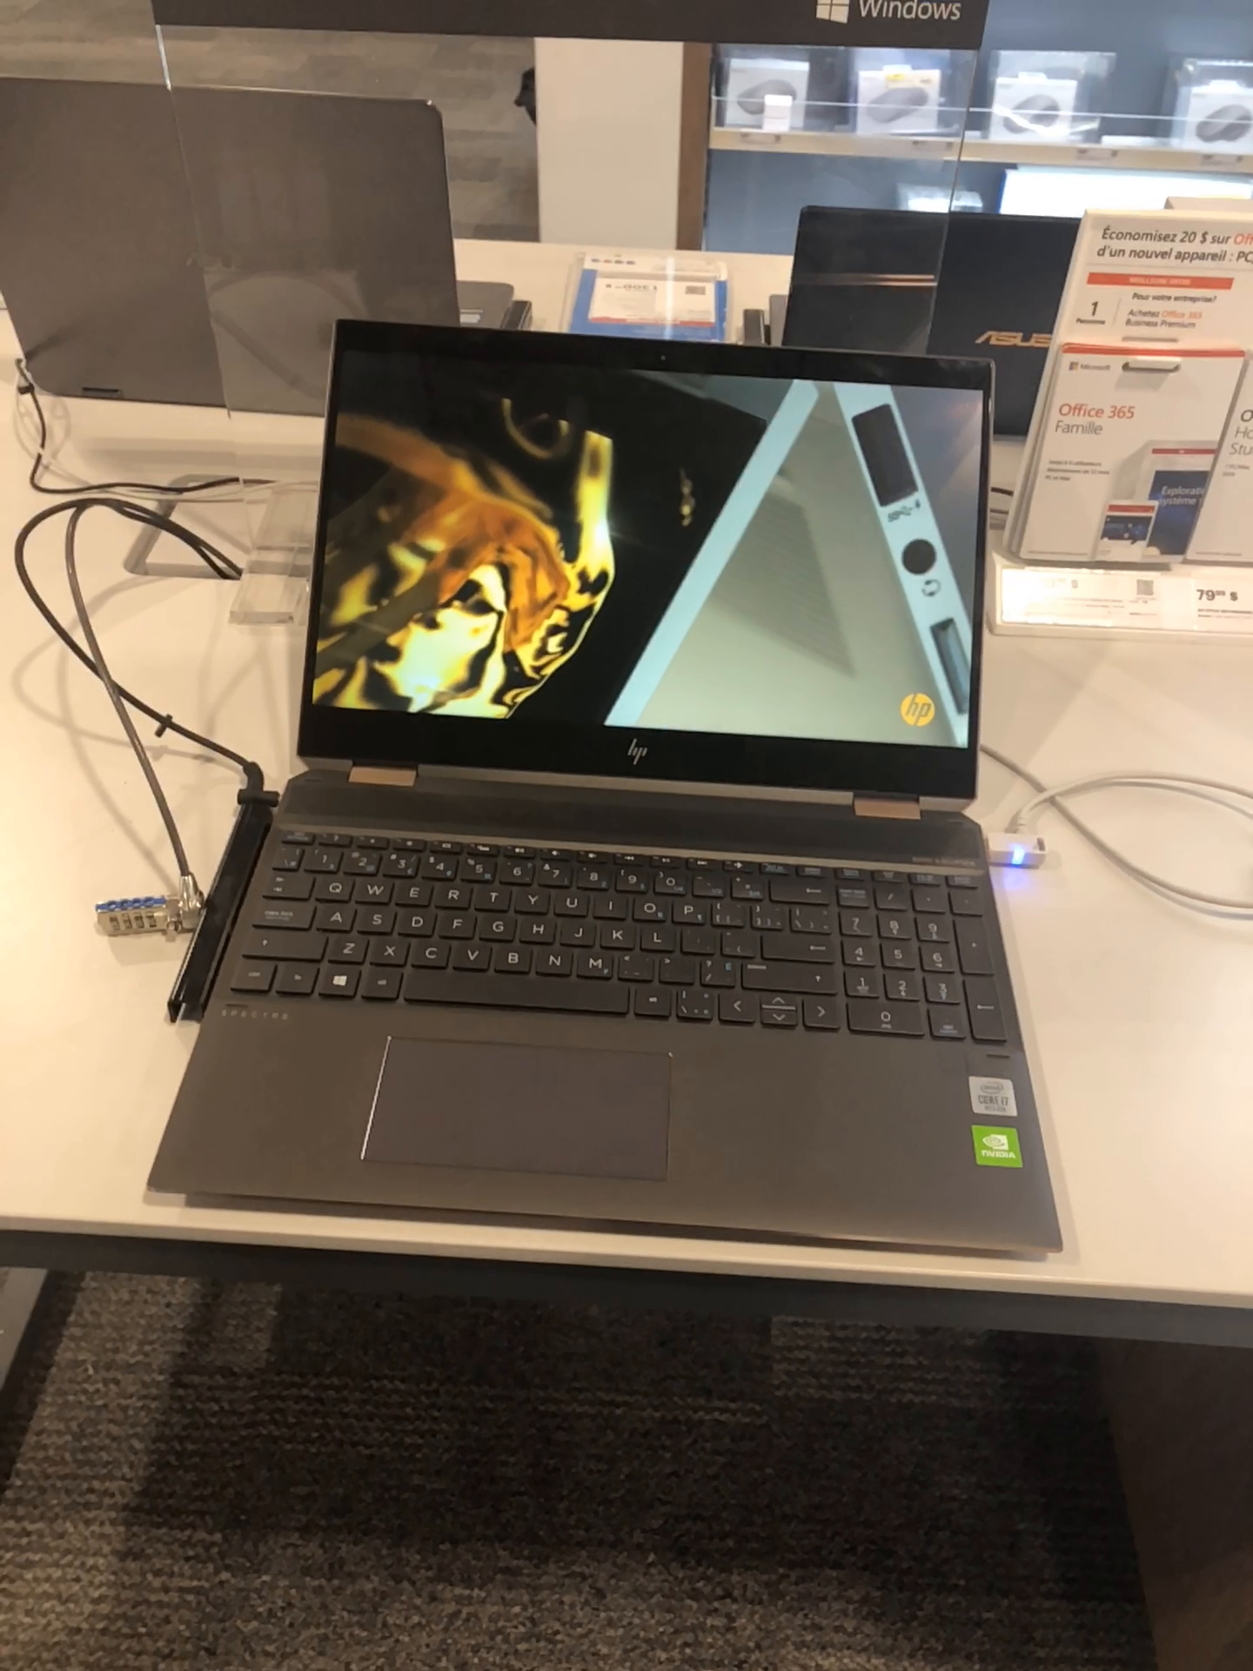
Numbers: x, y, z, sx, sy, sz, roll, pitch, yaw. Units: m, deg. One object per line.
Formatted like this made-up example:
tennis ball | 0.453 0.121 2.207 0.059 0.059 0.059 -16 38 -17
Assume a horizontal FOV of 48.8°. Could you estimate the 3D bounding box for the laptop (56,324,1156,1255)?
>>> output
laptop | 0.001 -0.059 0.618 0.333 0.145 0.427 3 44 3
